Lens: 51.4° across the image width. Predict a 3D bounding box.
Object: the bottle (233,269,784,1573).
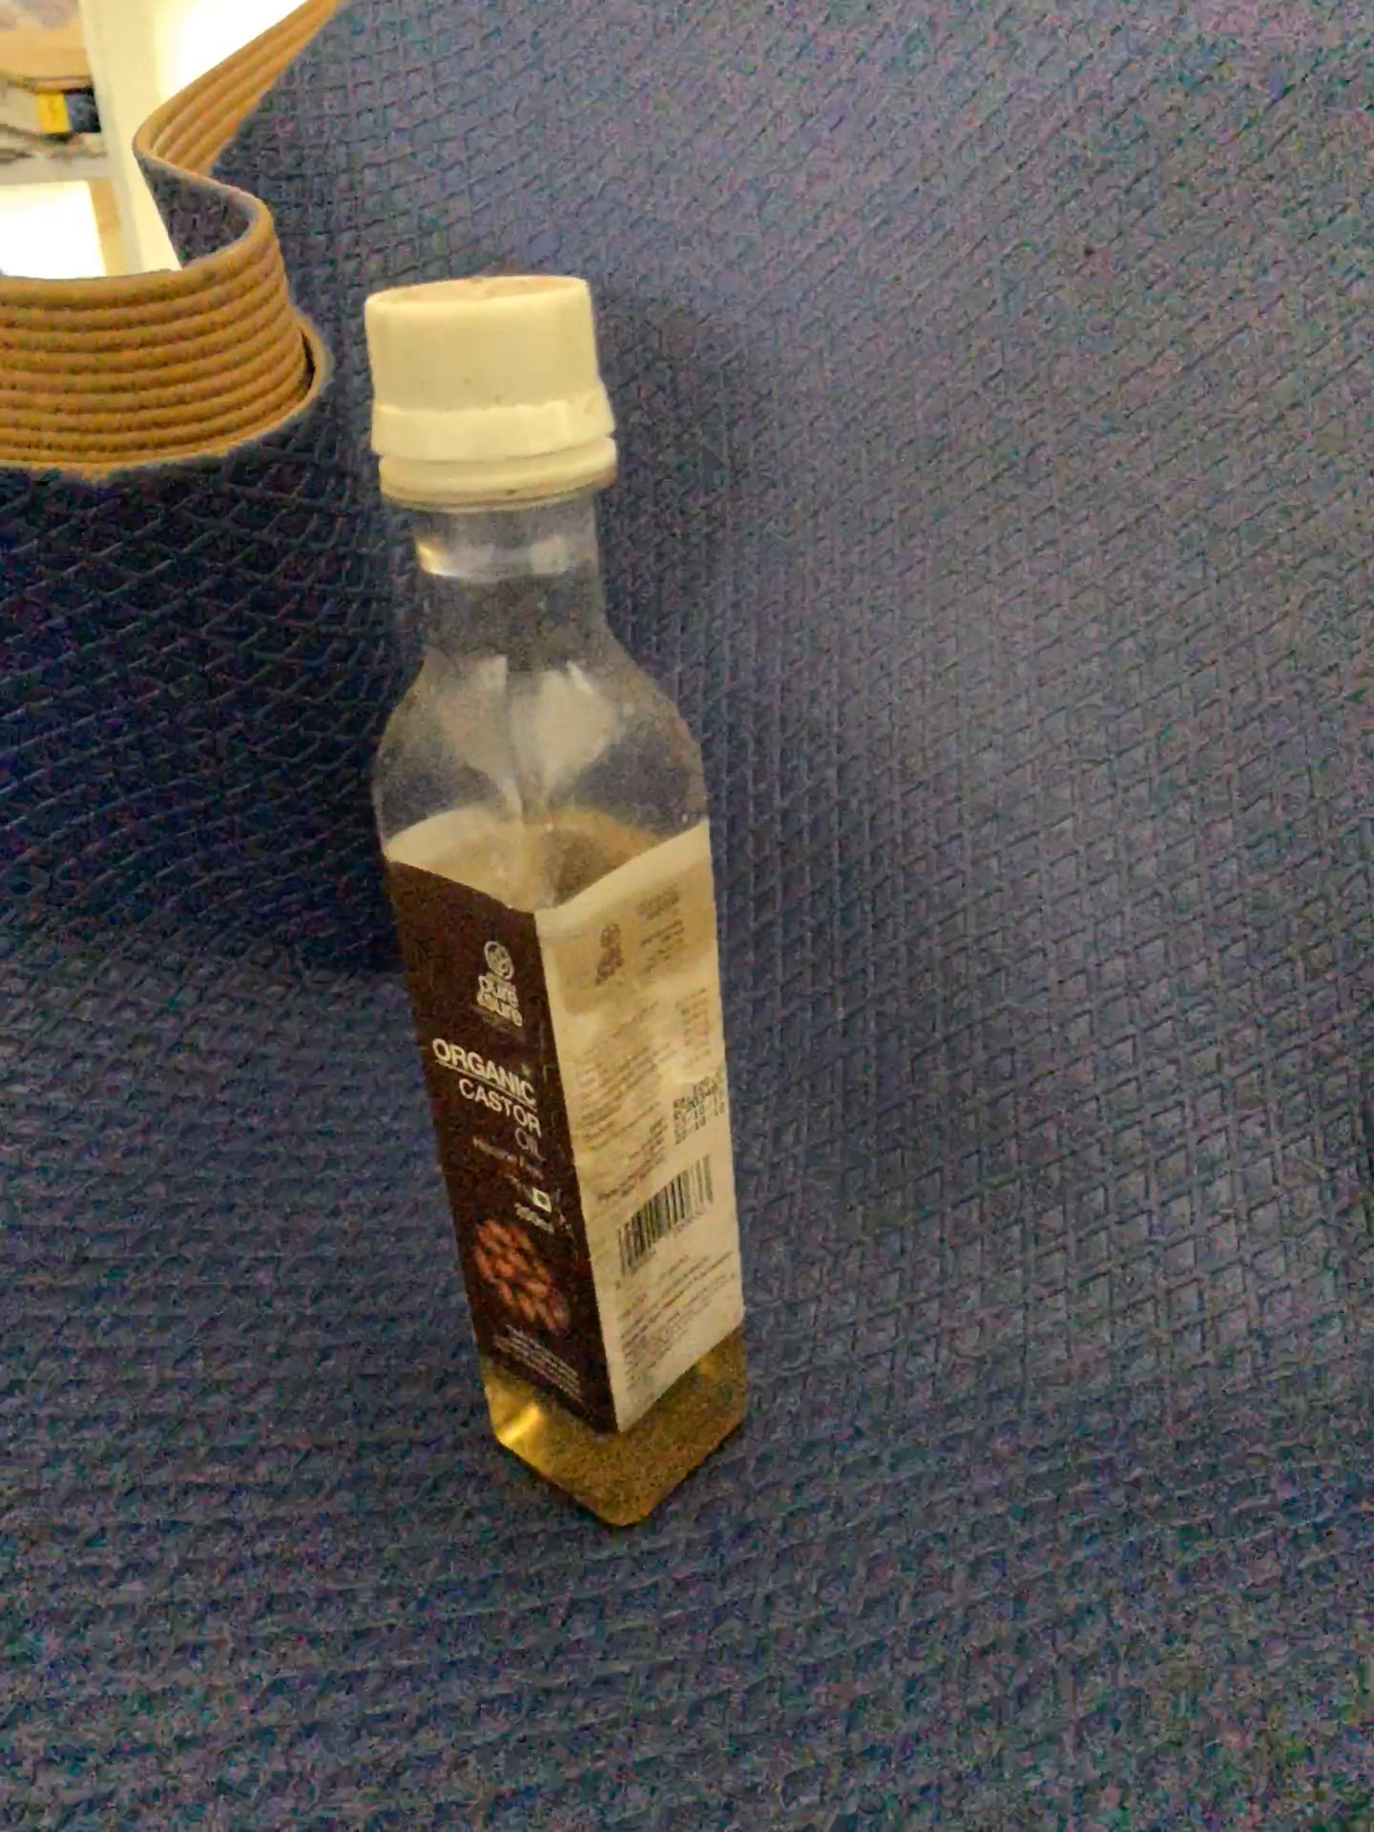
[{"bbox_3d":[-0.020,0.007,0.230,0.050,0.198,0.050,-2,27,1],"label":"bottle"}]
